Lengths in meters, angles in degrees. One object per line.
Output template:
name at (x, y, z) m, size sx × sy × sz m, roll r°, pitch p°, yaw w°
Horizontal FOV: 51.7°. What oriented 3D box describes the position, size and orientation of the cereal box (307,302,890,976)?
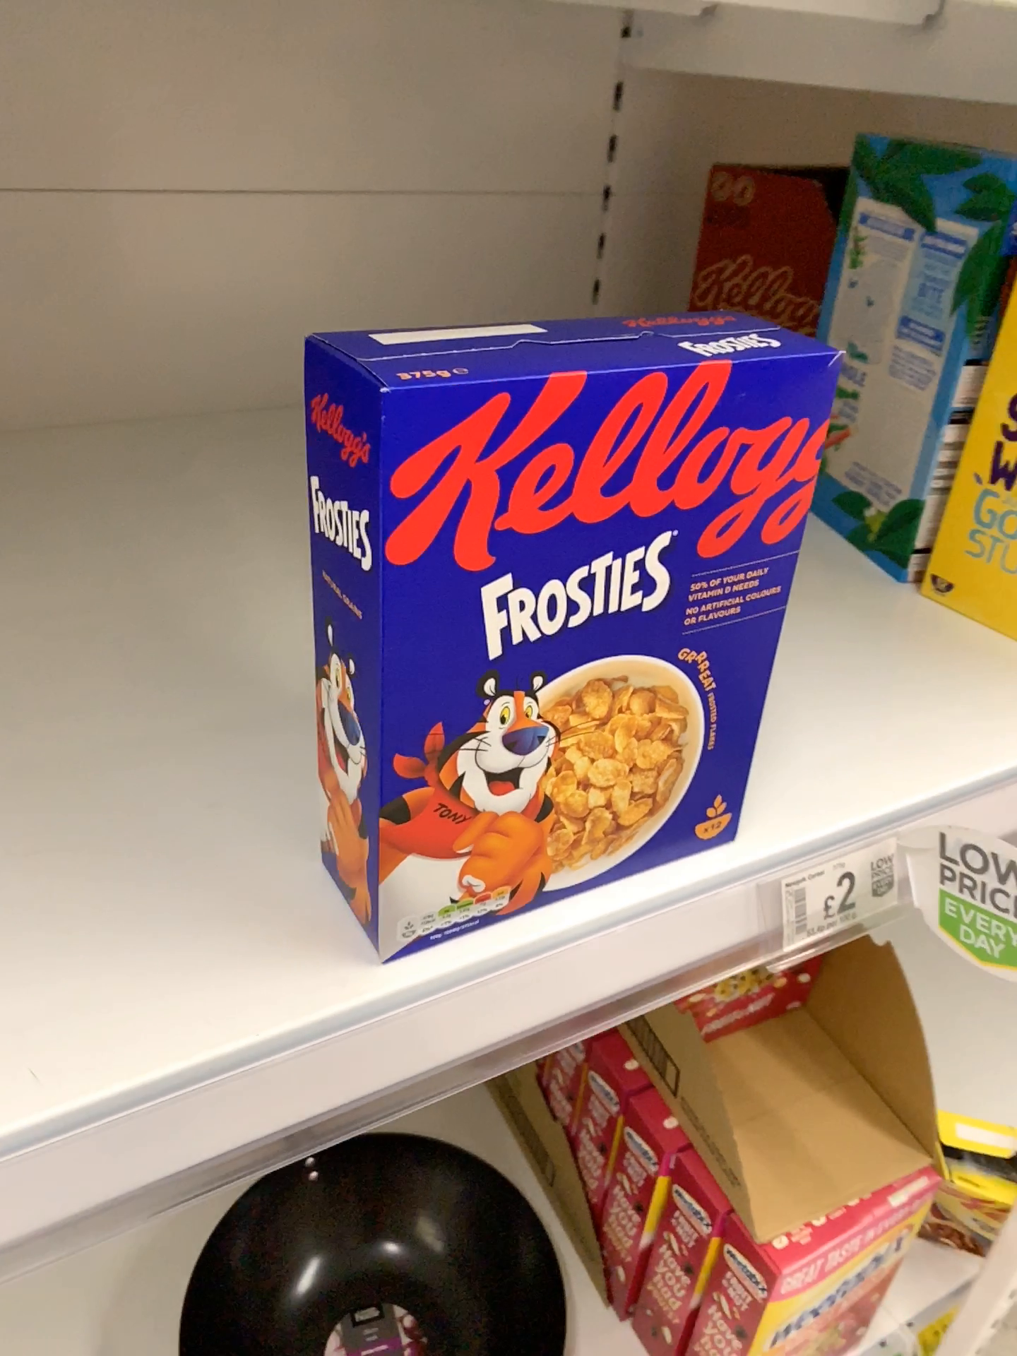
cereal box at (0.028, -0.021, 0.438) m, size 0.201 × 0.238 × 0.081 m, roll -13°, pitch 35°, yaw -27°
